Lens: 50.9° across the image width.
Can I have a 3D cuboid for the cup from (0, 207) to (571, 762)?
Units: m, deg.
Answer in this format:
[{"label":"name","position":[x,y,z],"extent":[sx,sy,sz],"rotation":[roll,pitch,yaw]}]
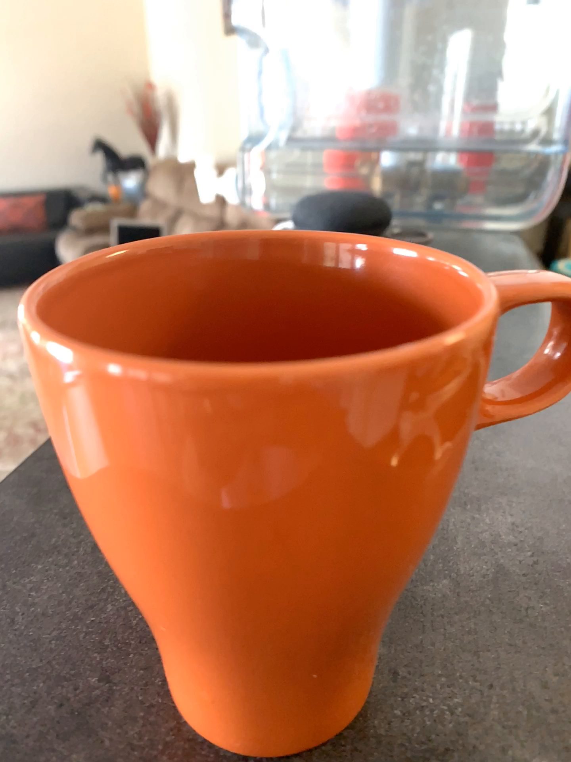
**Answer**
[{"label":"cup","position":[0.016,0.019,0.123],"extent":[0.120,0.090,0.080],"rotation":[-4,25,-5]}]
